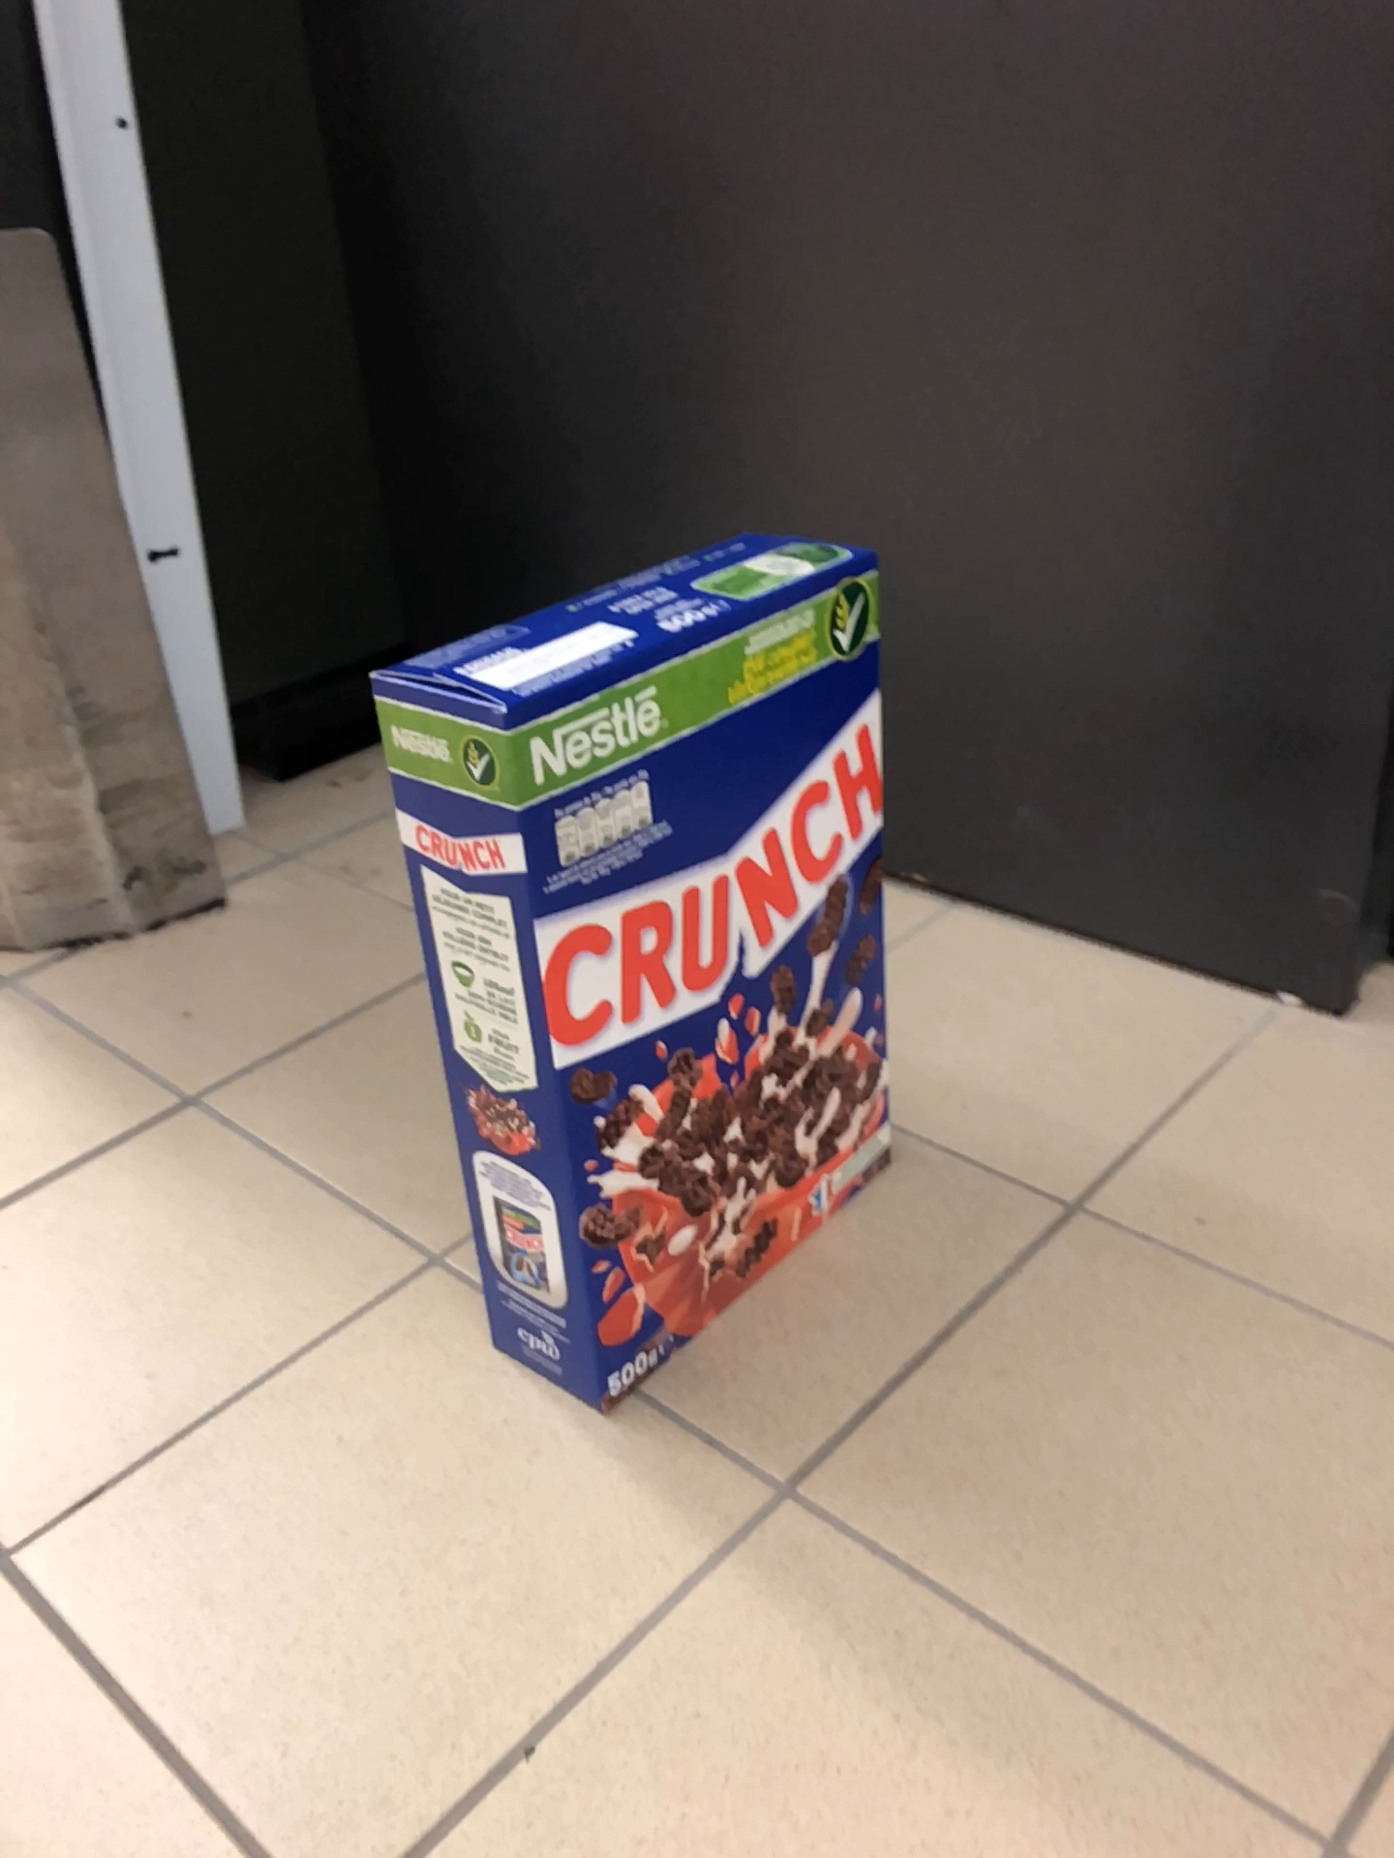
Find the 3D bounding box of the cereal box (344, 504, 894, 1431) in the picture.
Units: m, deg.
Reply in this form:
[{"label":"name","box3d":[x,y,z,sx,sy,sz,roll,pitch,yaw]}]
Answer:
[{"label":"cereal box","box3d":[-0.010,0.011,0.580,0.070,0.288,0.191,20,38,36]}]
